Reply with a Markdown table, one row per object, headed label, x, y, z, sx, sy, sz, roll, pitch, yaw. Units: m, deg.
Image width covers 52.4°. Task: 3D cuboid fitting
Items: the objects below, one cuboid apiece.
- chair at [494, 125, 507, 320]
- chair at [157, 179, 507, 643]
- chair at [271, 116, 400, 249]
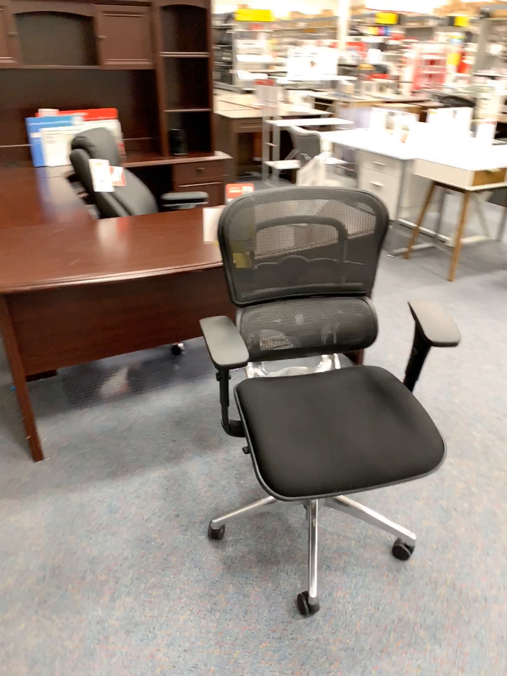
| label | x | y | z | sx | sy | sz | roll | pitch | yaw |
| --- | --- | --- | --- | --- | --- | --- | --- | --- | --- |
| chair | 2.082 | -0.738 | 3.115 | 0.818 | 0.913 | 0.616 | -18 | 34 | -30 |
| chair | 0.166 | 0.146 | 1.467 | 0.697 | 0.983 | 0.687 | -8 | 30 | -16 |
| chair | 0.606 | -1.262 | 4.088 | 0.675 | 0.824 | 0.710 | -12 | 32 | -22 |
